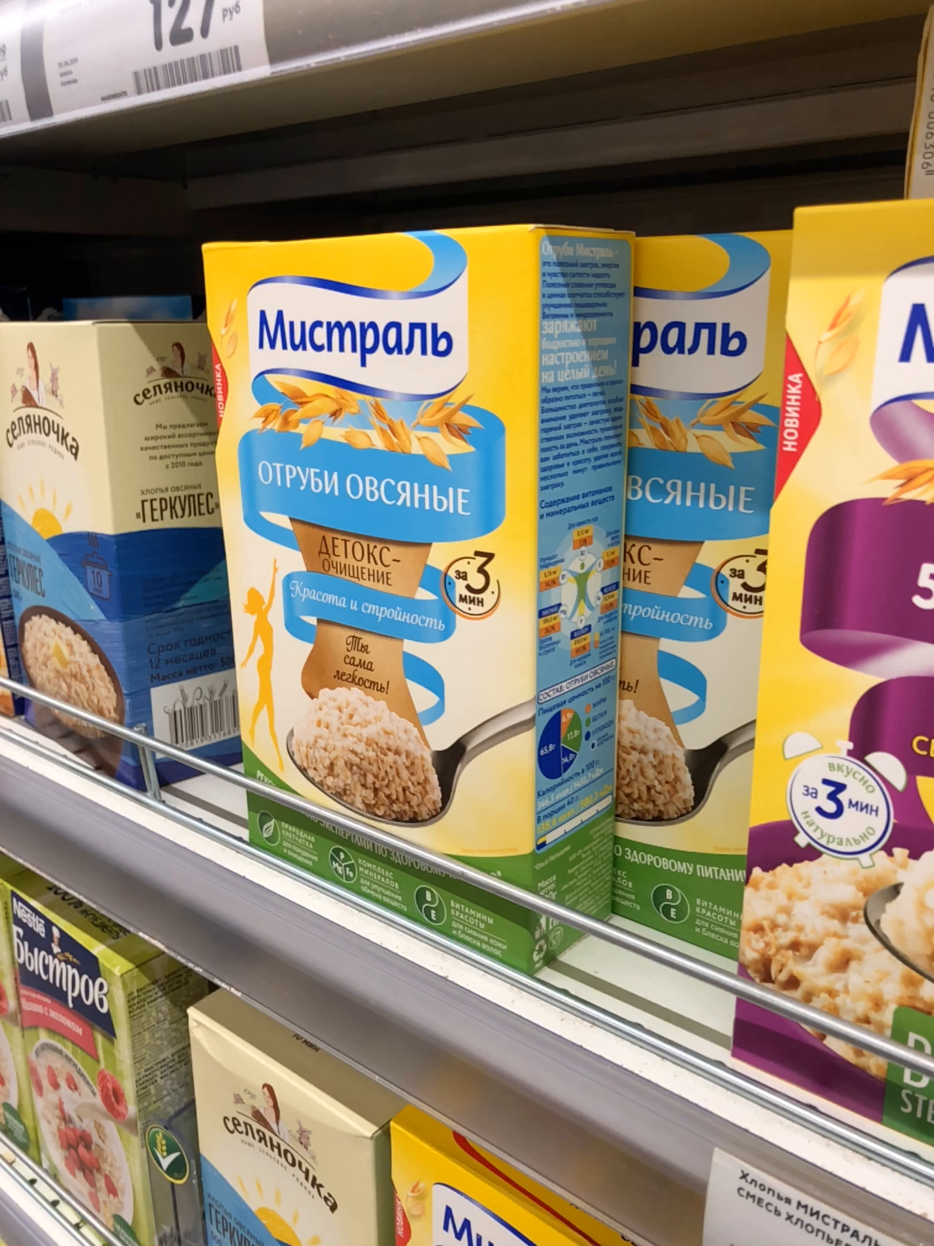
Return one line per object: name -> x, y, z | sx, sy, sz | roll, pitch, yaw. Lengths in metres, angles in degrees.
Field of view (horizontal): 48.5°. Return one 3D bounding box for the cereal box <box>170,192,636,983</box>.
cereal box -> -0.022, -0.016, 0.329 | 0.140, 0.209, 0.050 | 13, 21, 40
